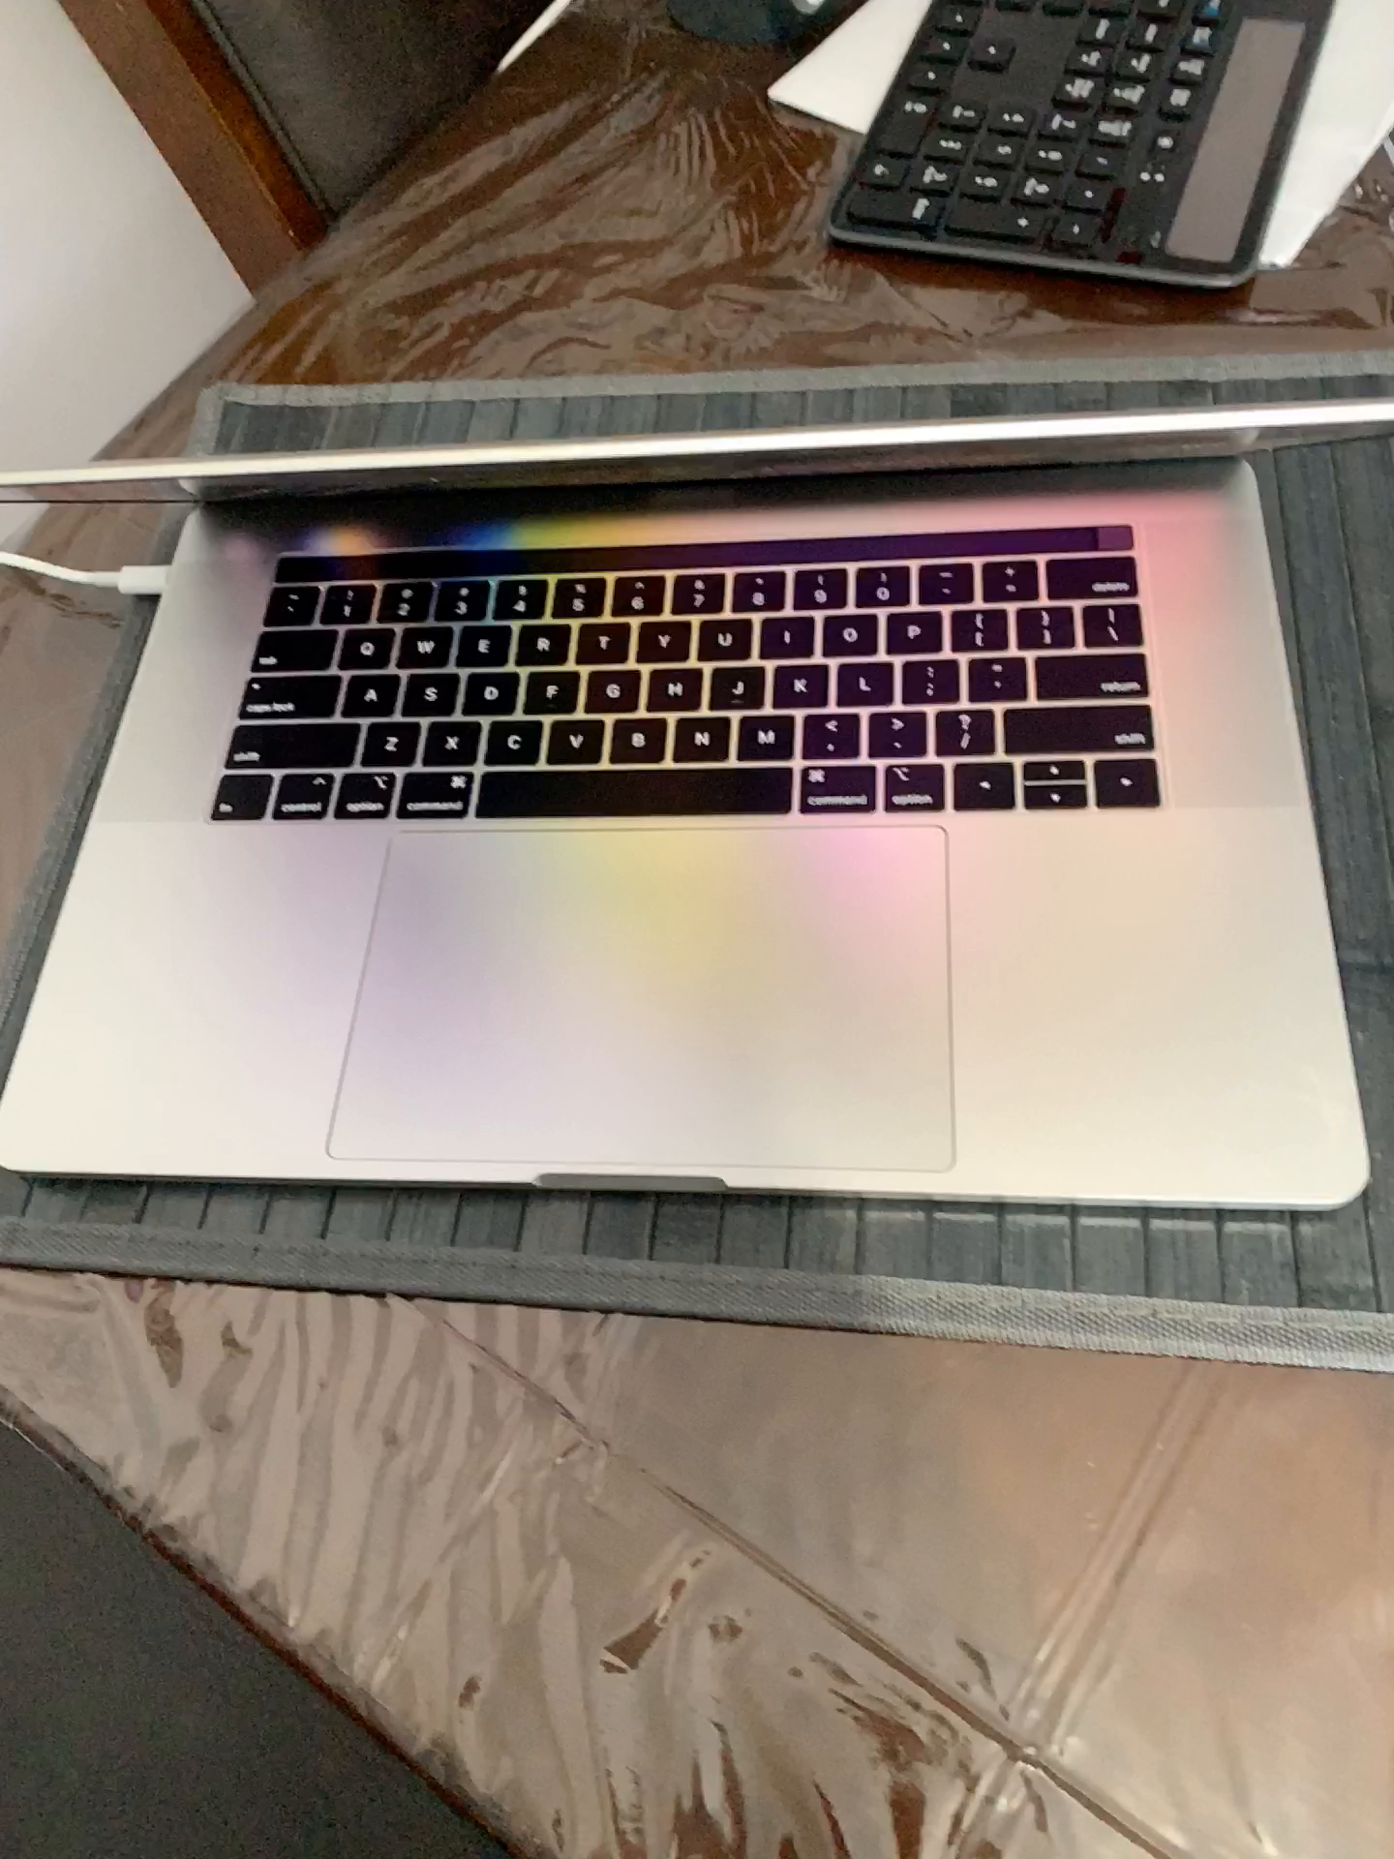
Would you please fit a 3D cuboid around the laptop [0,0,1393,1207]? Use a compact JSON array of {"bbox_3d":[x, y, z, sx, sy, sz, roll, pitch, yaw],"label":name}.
[{"bbox_3d":[-0.019,-0.080,0.335,0.342,0.166,0.233,0,62,9],"label":"laptop"}]
